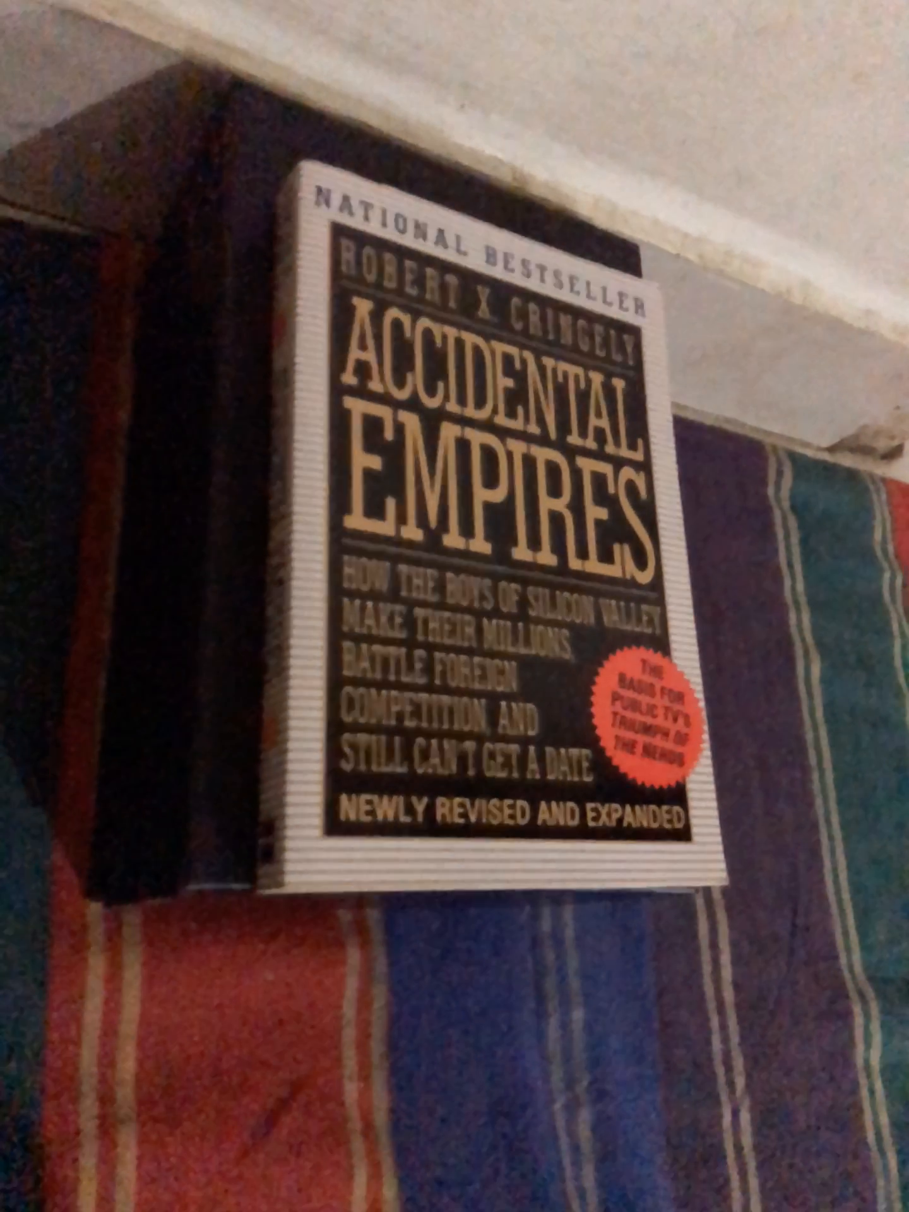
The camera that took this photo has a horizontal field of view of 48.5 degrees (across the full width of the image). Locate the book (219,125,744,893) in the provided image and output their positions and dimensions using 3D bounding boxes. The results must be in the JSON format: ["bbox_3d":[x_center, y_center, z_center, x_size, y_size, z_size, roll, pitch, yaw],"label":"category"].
[{"bbox_3d":[0.007,-0.021,0.281,0.131,0.040,0.190,8,69,-30],"label":"book"}]
